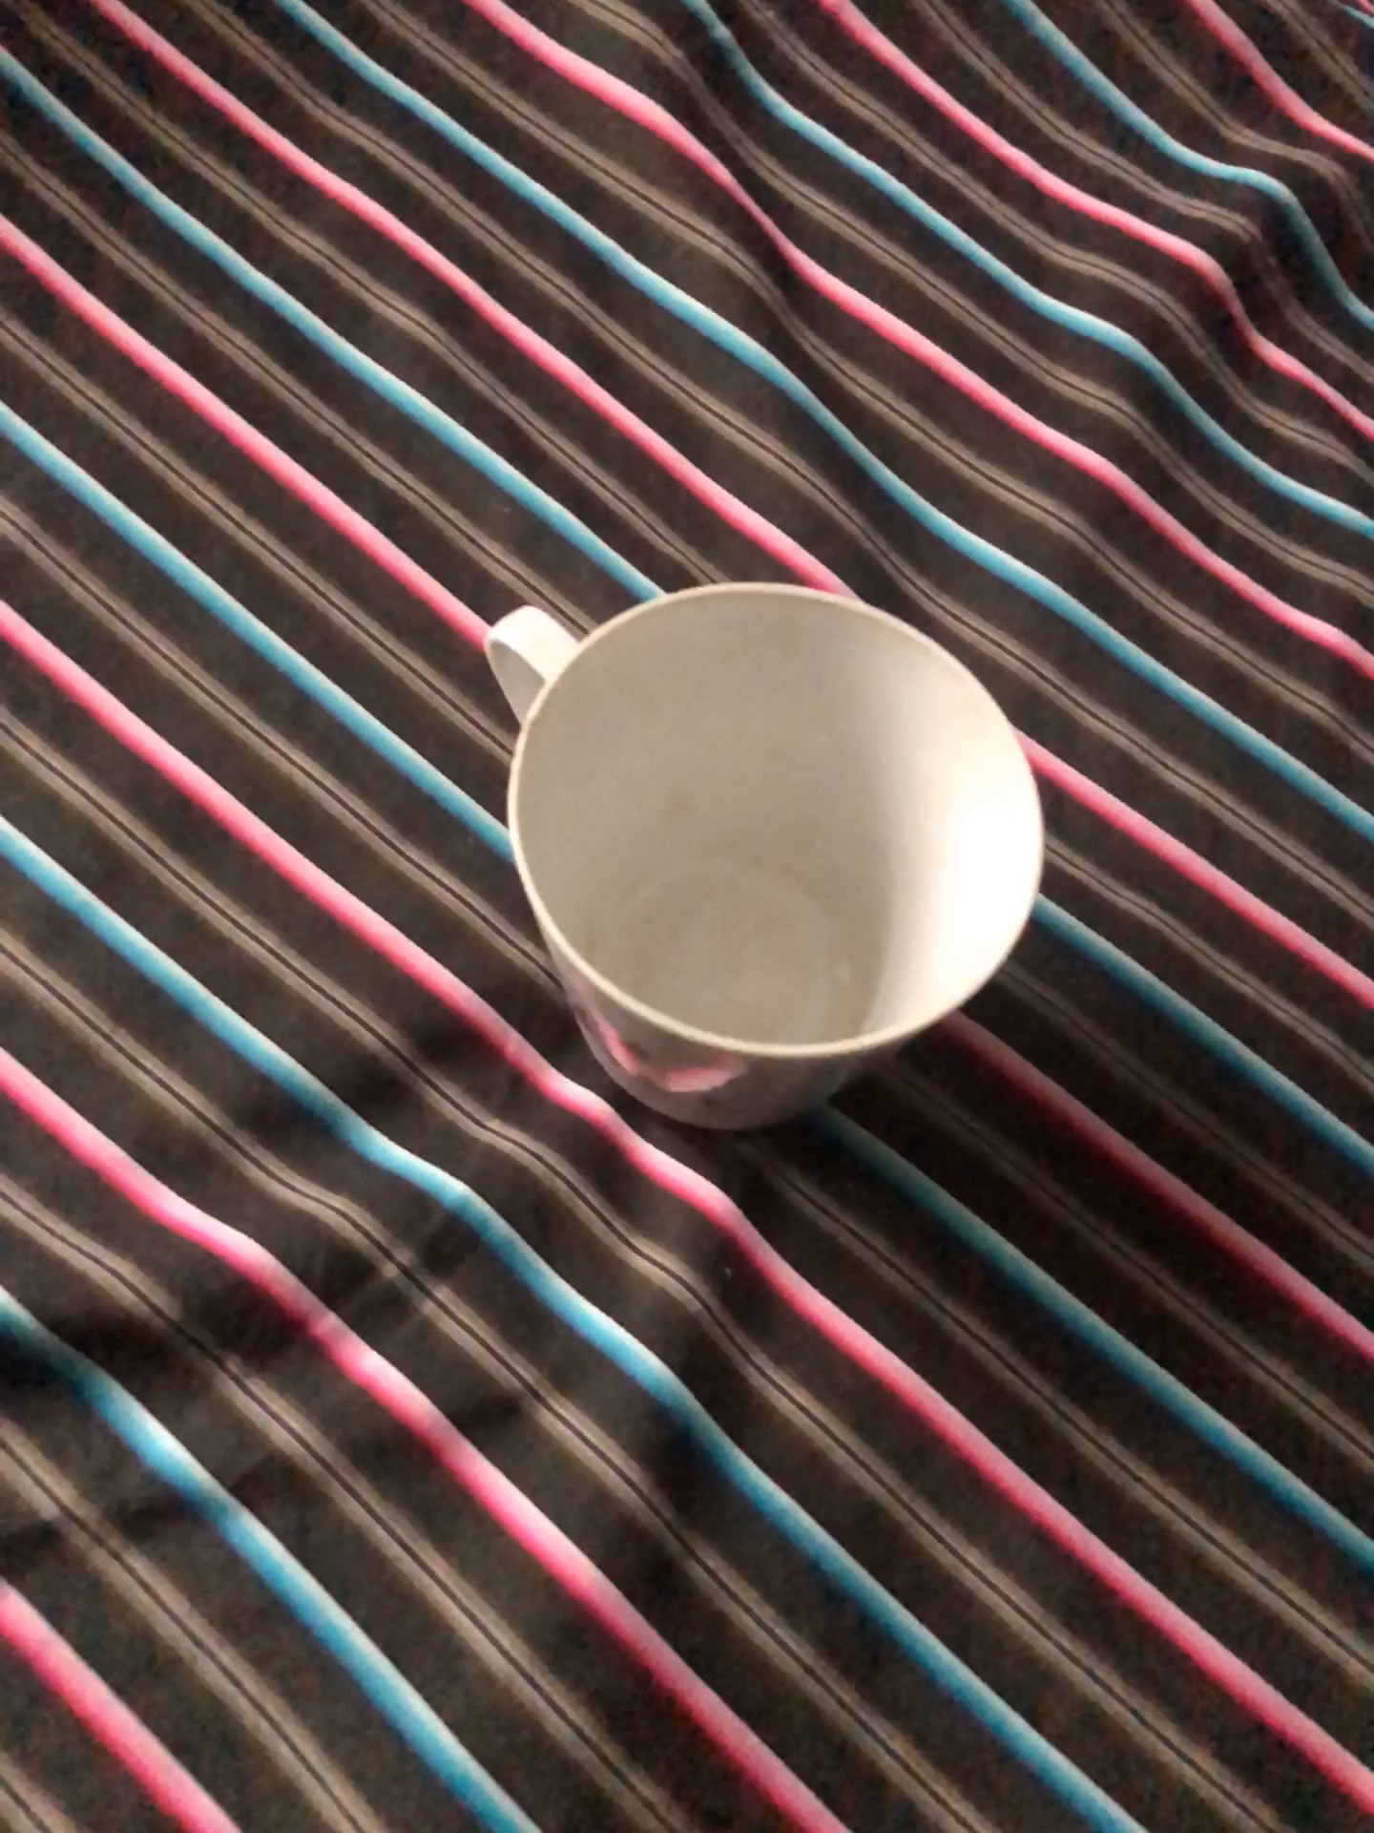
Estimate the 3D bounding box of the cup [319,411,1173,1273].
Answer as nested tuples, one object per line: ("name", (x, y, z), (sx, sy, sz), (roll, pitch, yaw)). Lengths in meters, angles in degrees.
("cup", (0.005, -0.012, 0.227), (0.073, 0.049, 0.094), (-33, 71, -17))
